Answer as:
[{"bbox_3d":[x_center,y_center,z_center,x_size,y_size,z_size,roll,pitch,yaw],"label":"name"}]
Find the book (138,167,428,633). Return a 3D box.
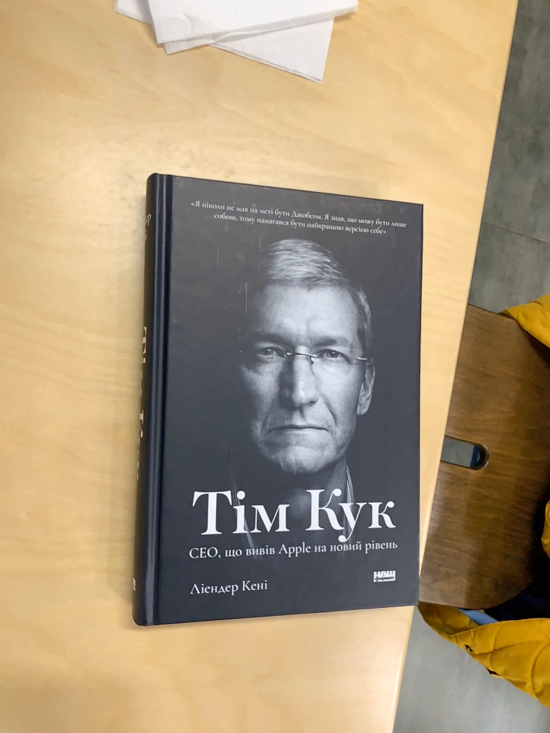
[{"bbox_3d":[0.006,0.016,0.298,0.144,0.034,0.217,2,86,-14],"label":"book"}]
